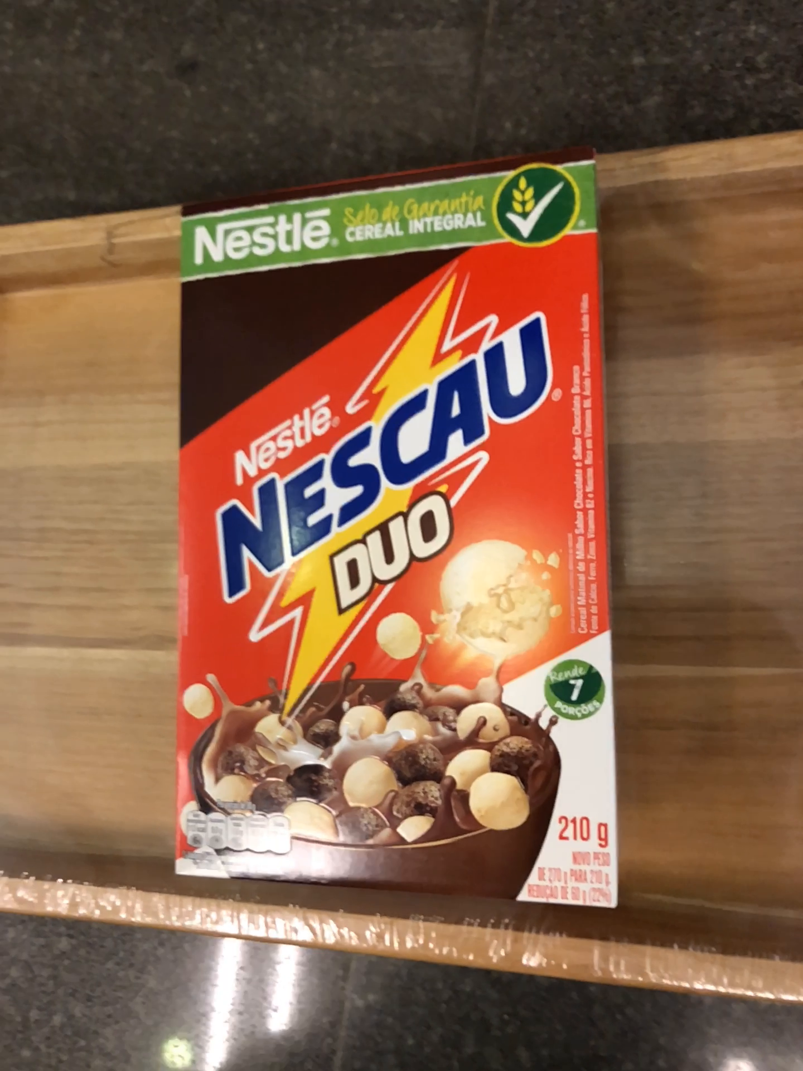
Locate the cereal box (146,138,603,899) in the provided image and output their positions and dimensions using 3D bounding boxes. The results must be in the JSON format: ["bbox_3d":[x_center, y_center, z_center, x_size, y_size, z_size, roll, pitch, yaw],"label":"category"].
[{"bbox_3d":[-0.010,-0.006,0.339,0.160,0.050,0.250,-2,85,16],"label":"cereal box"}]
